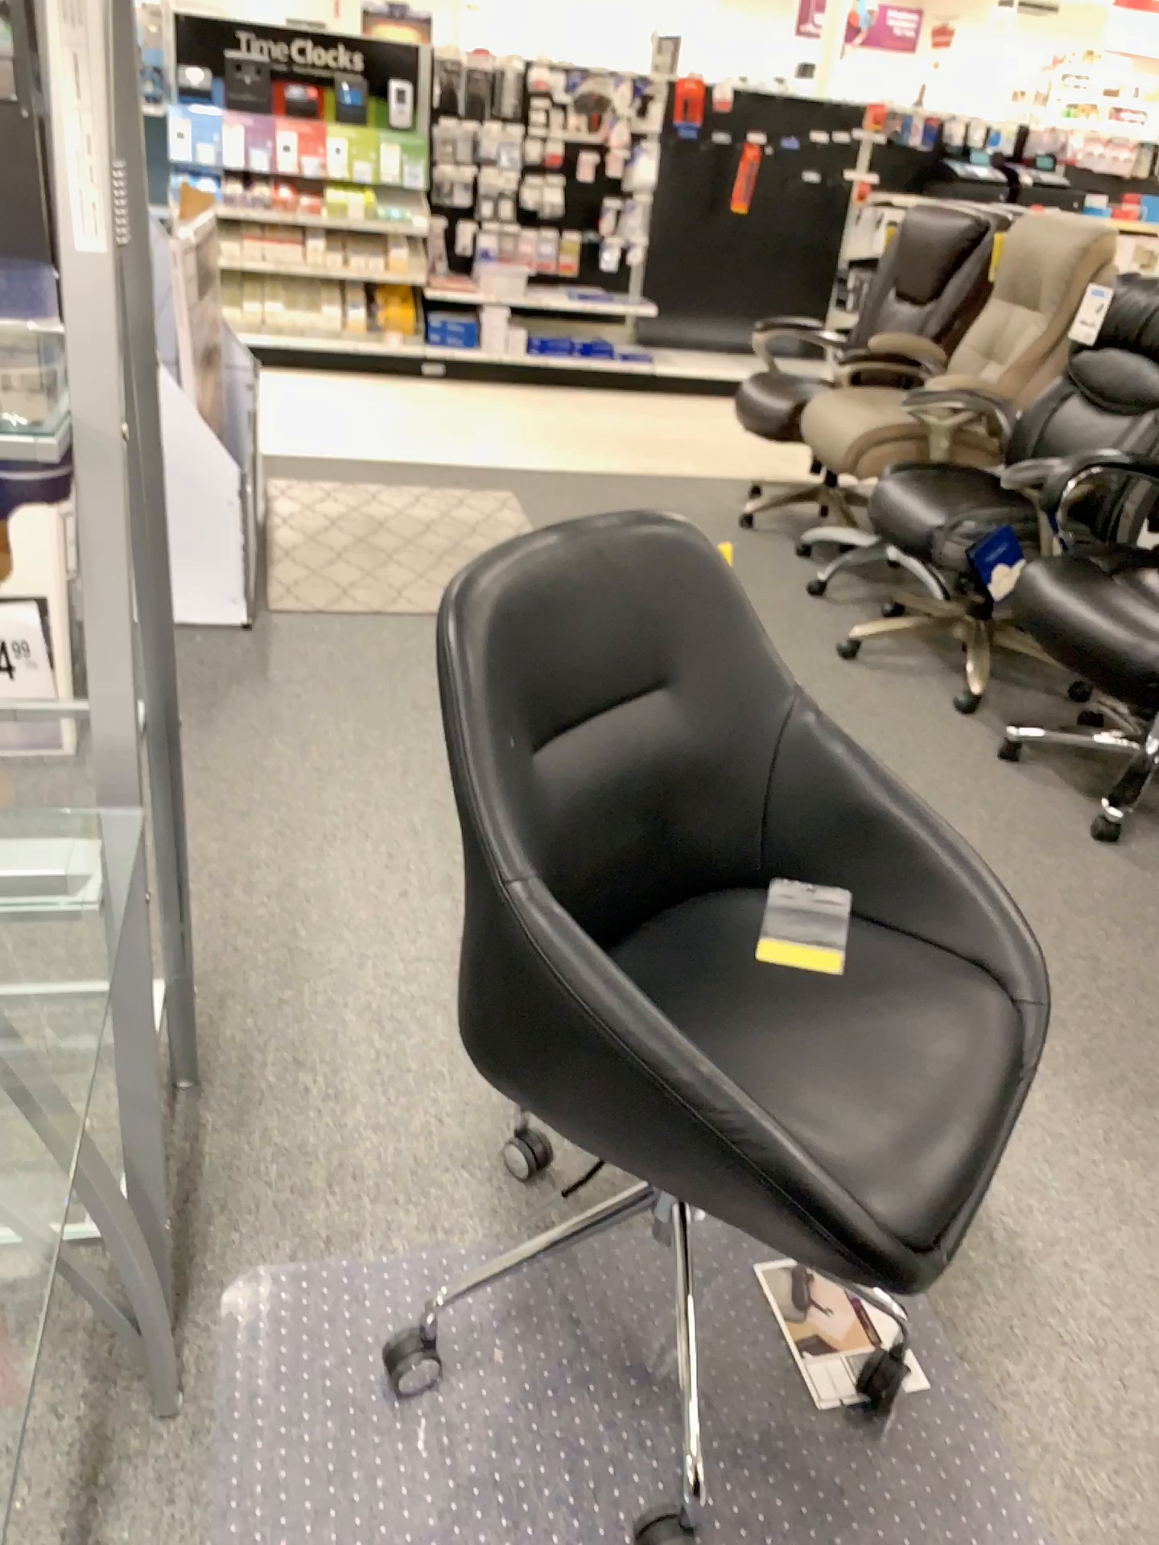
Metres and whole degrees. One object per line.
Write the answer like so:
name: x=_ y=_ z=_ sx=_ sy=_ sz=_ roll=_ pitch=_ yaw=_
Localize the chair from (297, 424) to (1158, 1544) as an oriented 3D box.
chair: x=0.188 y=0.211 z=1.202 sx=0.621 sy=0.885 sz=0.673 roll=22 pitch=32 yaw=25
